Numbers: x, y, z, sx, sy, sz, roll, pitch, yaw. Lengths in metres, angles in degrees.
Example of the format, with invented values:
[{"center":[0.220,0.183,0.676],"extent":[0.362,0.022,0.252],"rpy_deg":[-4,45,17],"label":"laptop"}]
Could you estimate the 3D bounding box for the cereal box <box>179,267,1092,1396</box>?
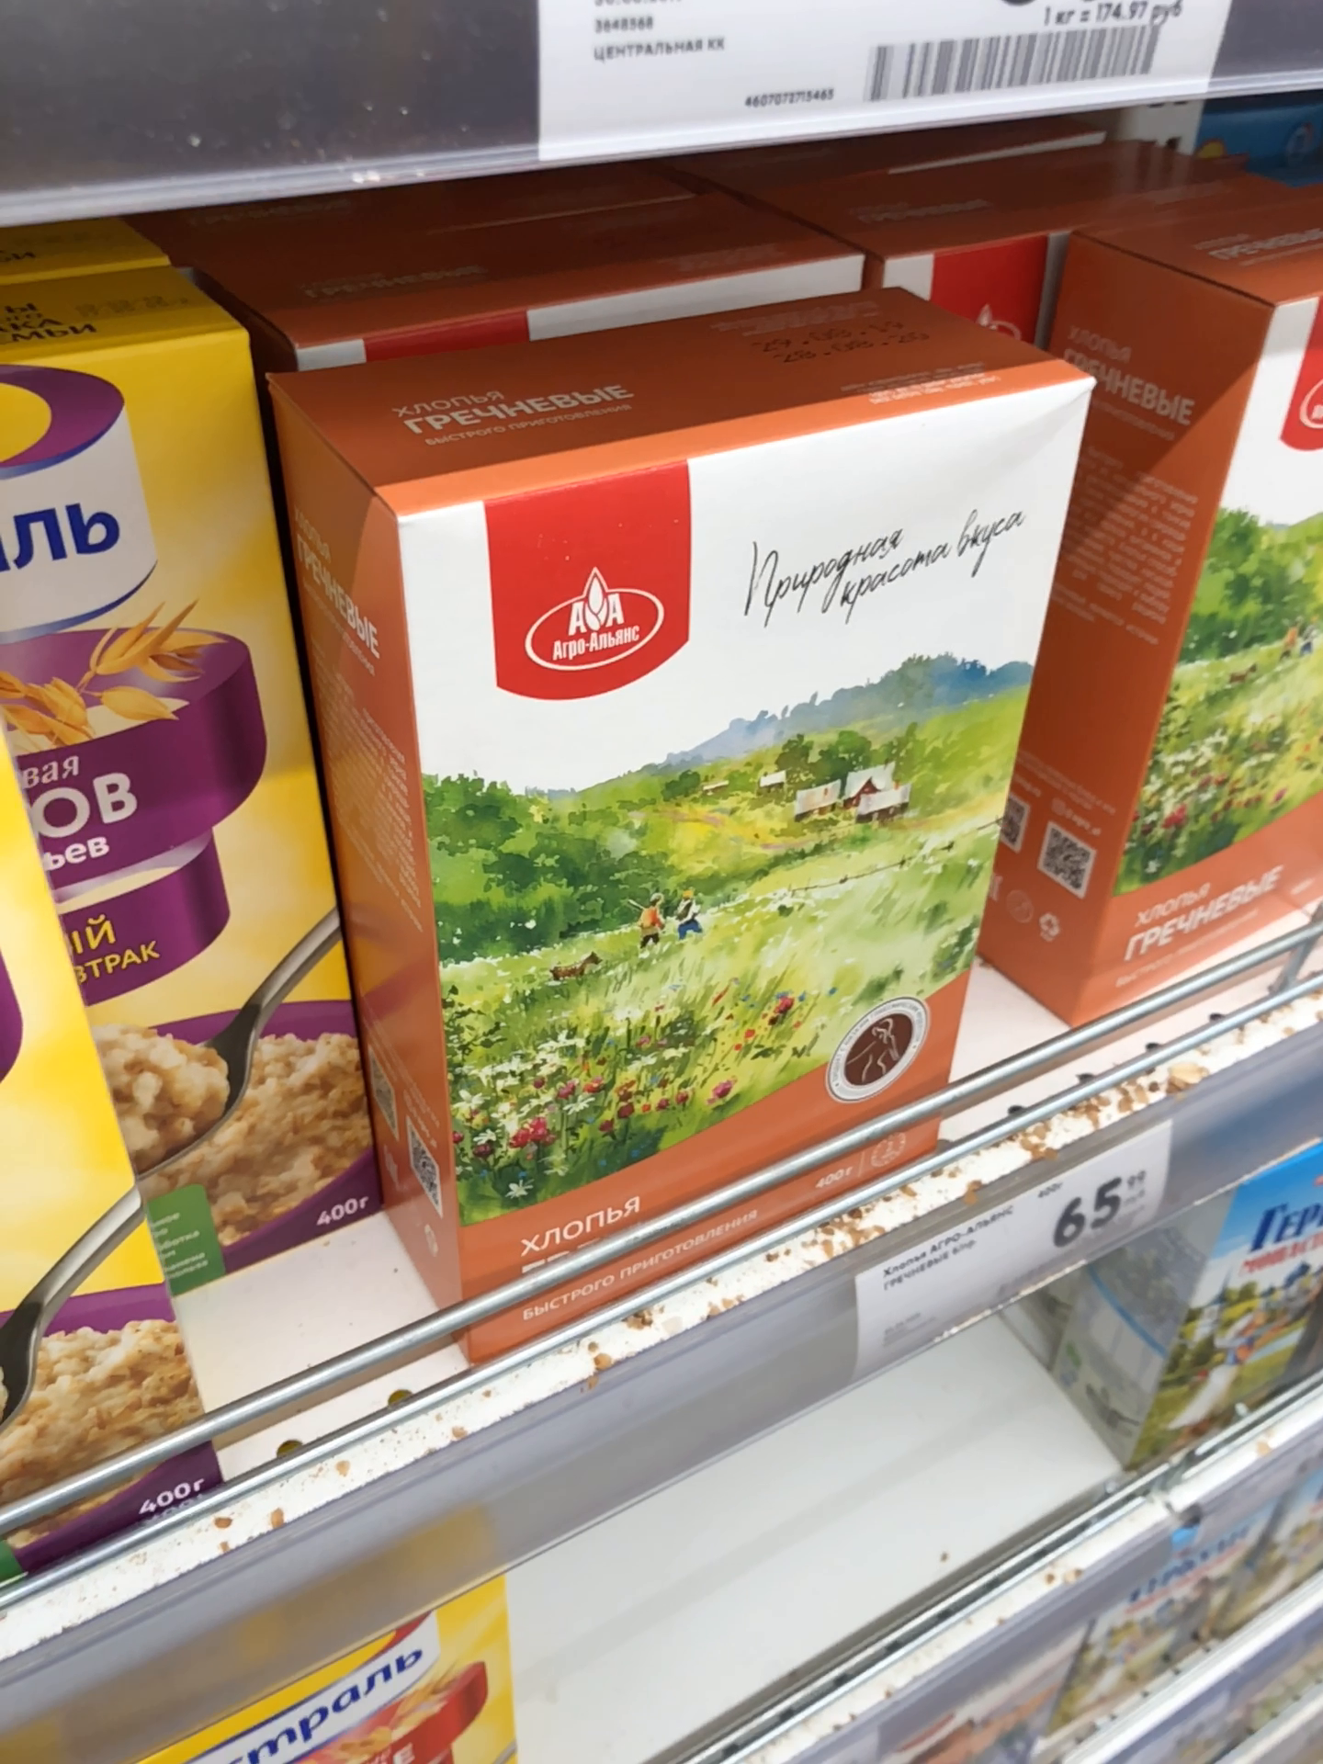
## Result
[{"center":[-0.002,-0.004,0.297],"extent":[0.140,0.199,0.050],"rpy_deg":[-19,42,-24],"label":"cereal box"}]
